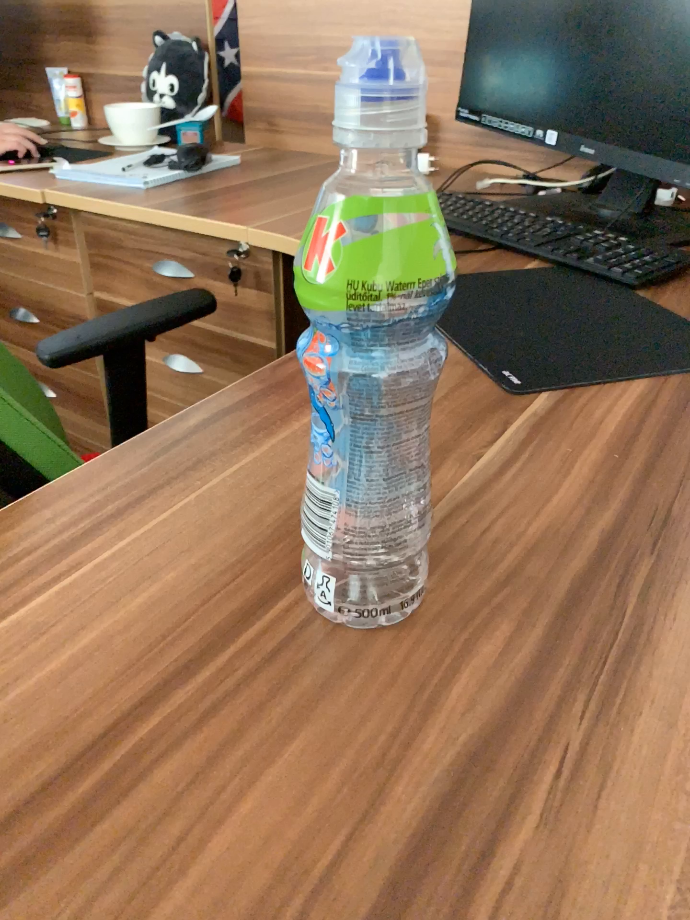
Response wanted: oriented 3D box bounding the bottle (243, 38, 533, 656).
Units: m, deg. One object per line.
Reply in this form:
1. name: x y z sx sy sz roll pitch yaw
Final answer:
1. bottle: 0.010 -0.038 0.300 0.070 0.239 0.070 1 31 -1
